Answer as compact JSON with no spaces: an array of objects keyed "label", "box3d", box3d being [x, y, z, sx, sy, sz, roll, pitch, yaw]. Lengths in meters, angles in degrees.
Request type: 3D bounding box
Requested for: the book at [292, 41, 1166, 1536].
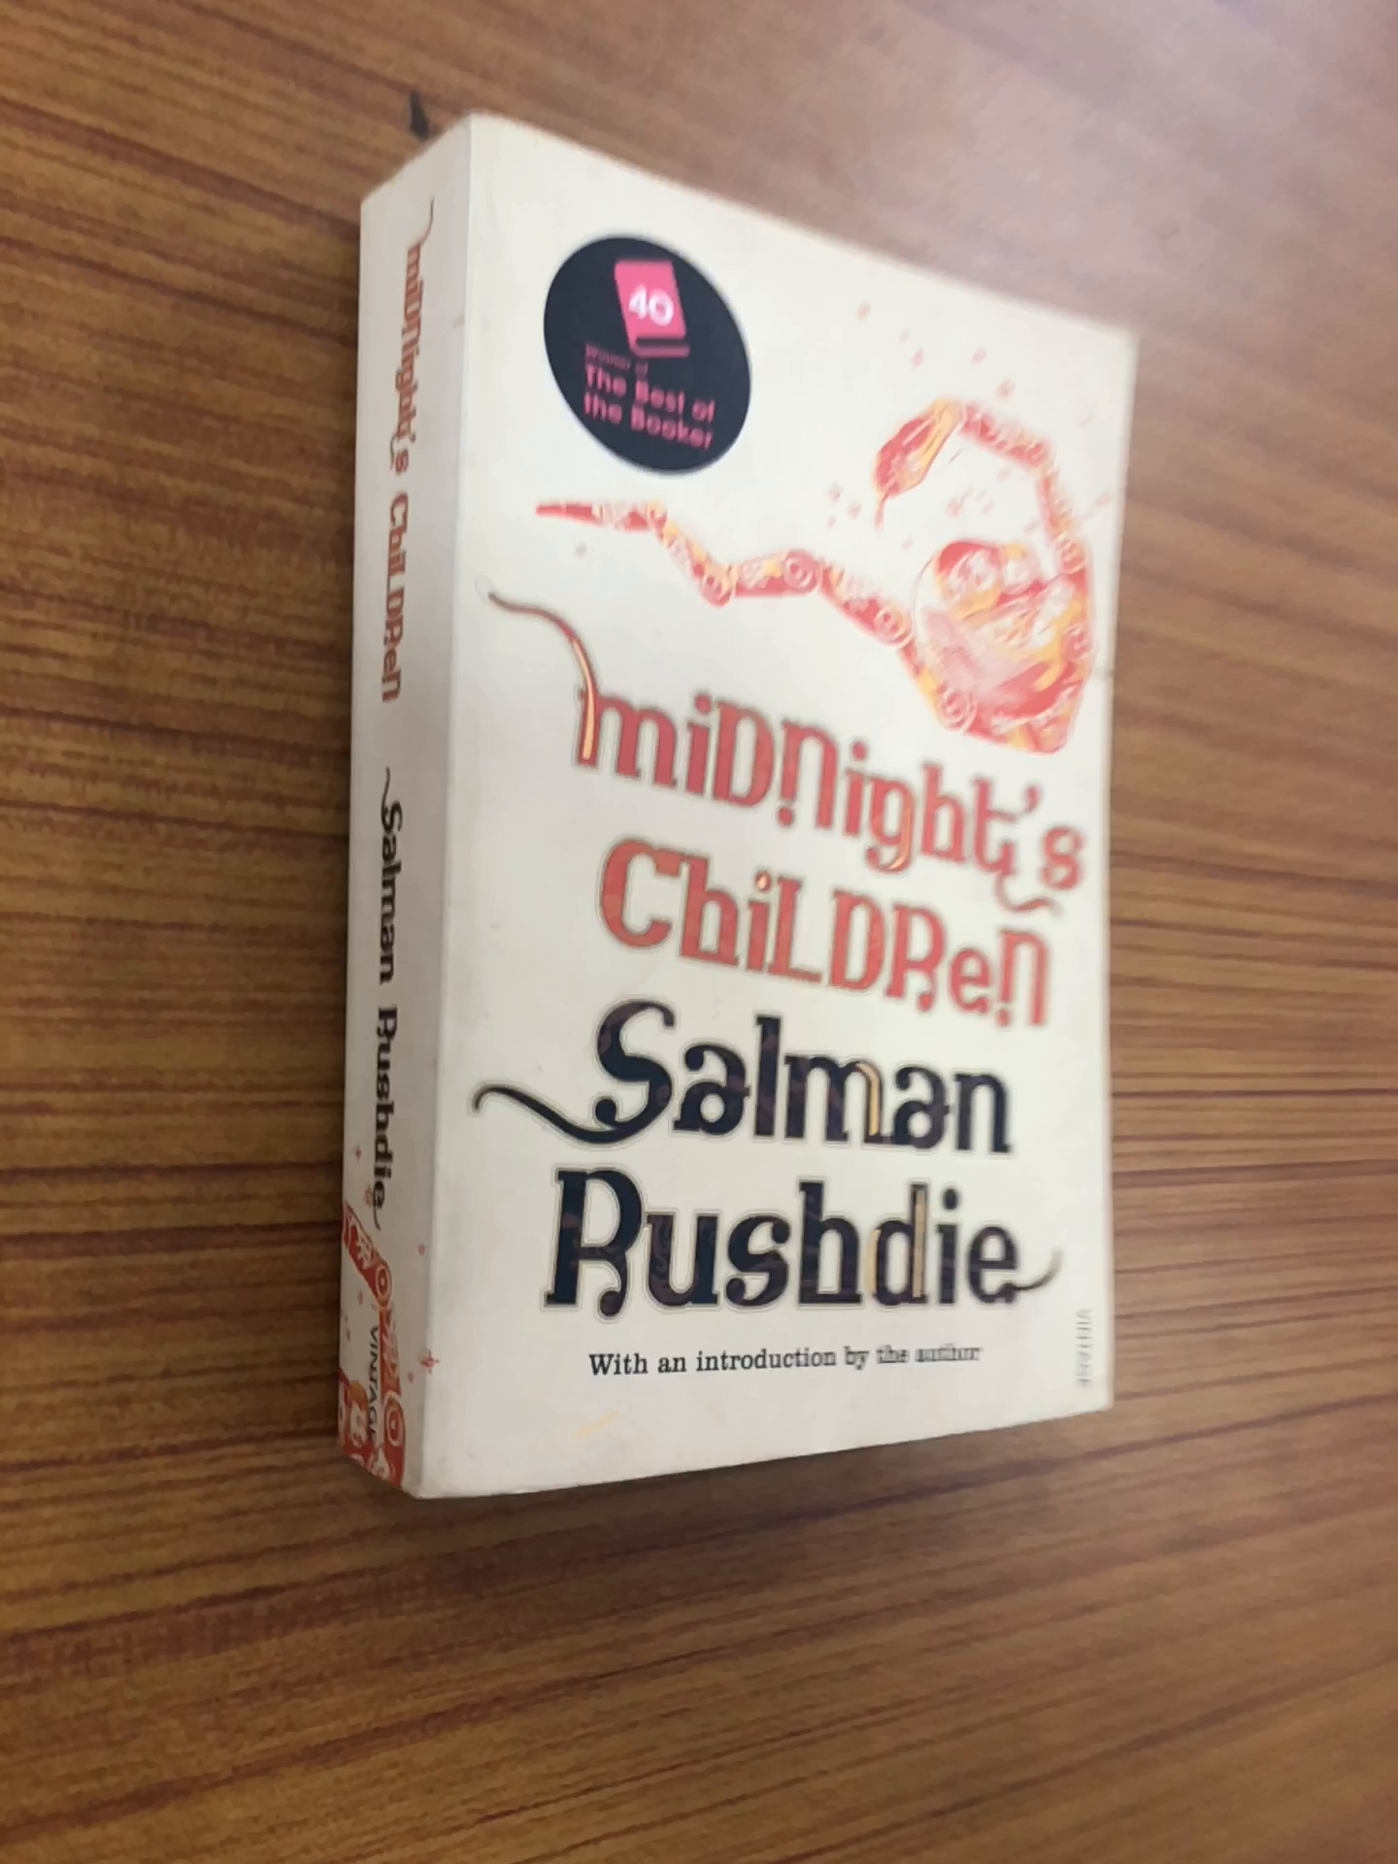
[{"label":"book","box3d":[0.011,-0.018,0.260,0.141,0.040,0.200,3,85,-30]}]
